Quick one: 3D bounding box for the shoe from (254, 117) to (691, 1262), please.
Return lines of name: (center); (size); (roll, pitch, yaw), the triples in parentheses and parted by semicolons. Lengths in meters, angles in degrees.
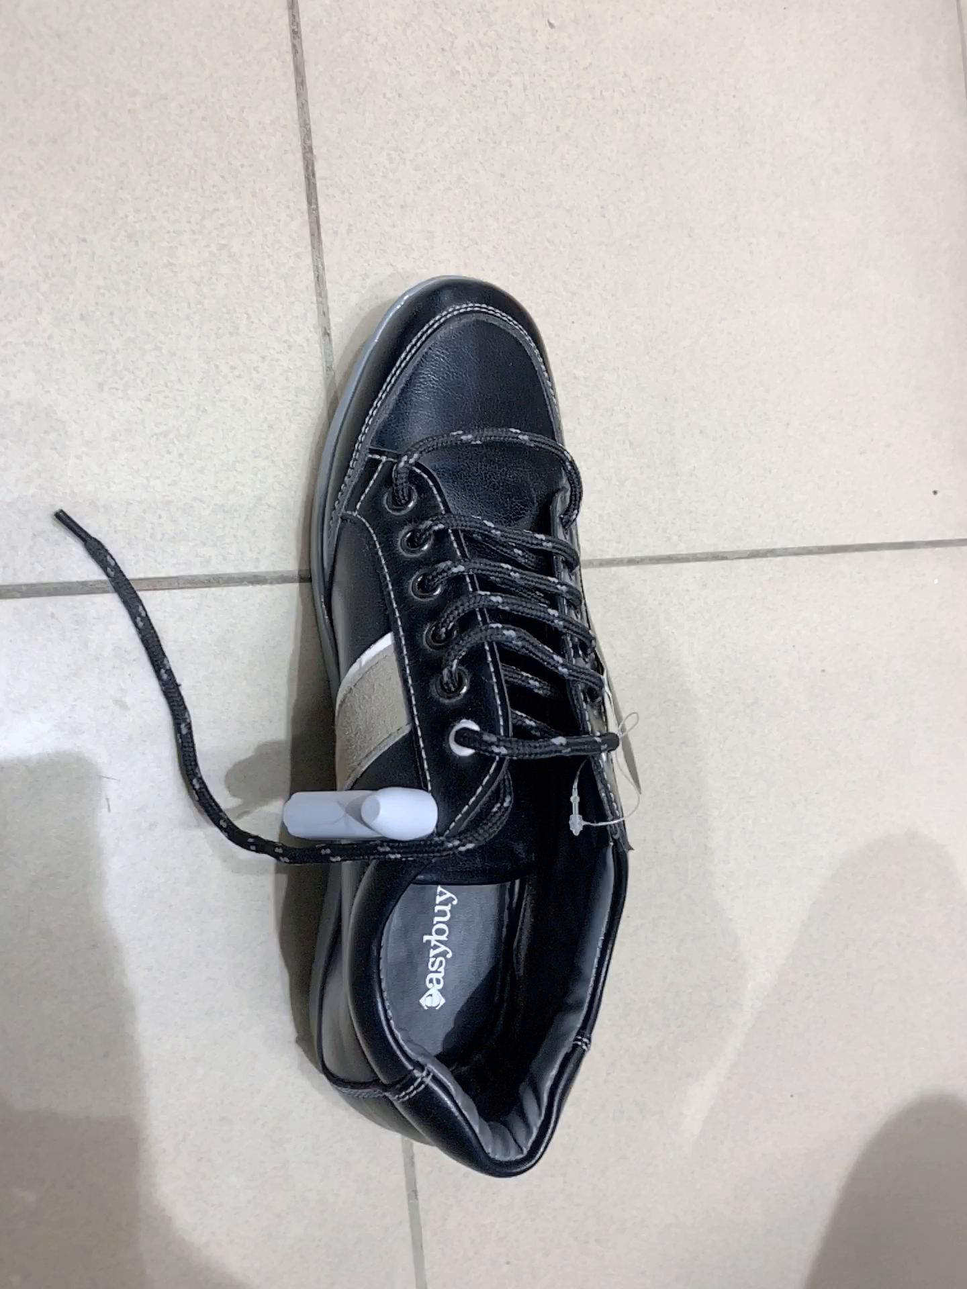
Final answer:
shoe: (-0.004, 0.011, 0.325); (0.100, 0.090, 0.300); (5, 85, -31)
